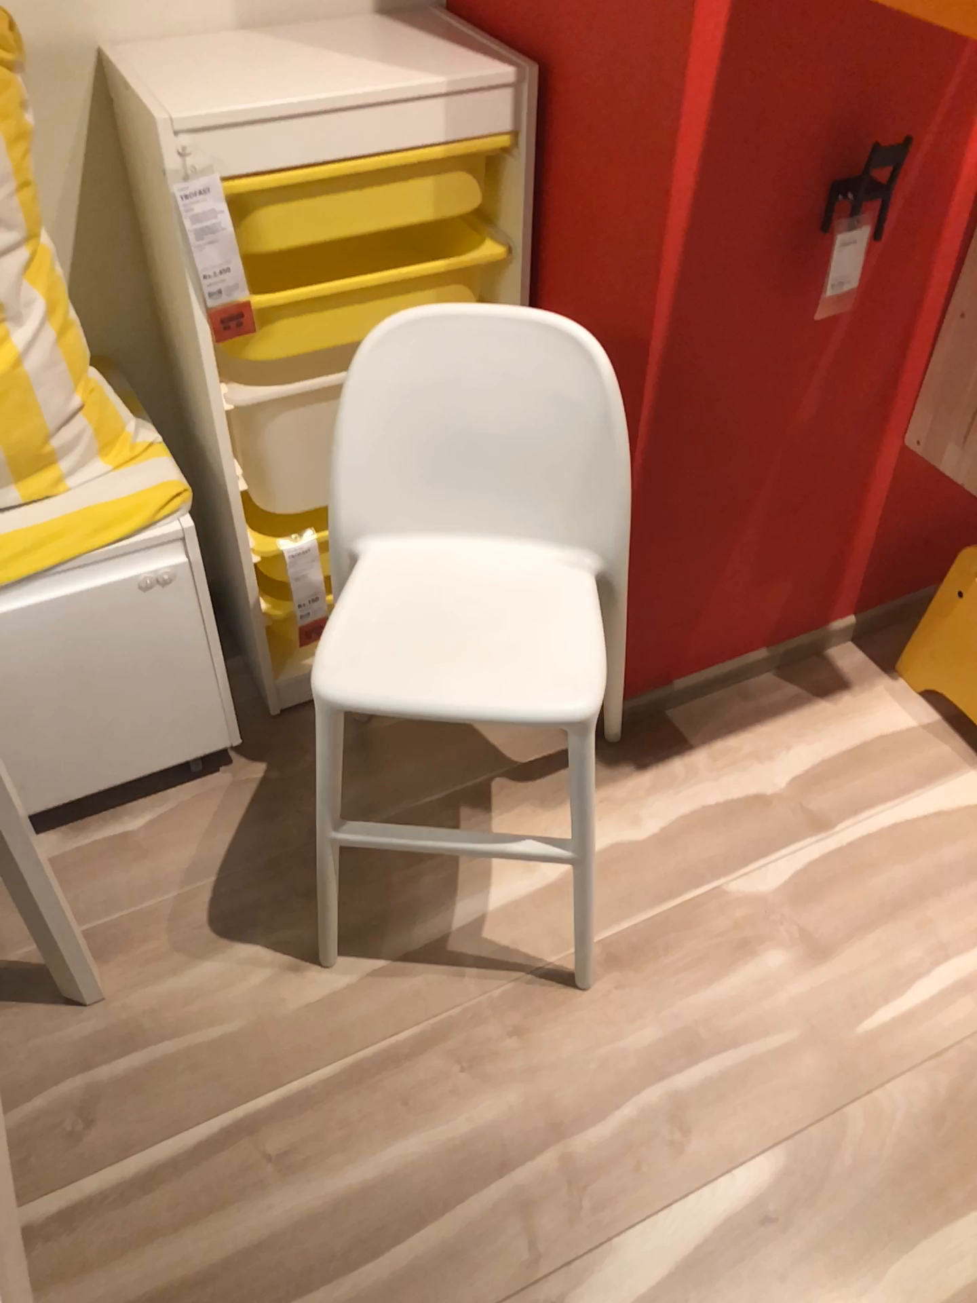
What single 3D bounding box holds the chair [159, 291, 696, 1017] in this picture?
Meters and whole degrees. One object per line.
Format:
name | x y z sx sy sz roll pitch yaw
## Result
chair | -0.037 0.033 1.248 0.420 0.706 0.463 4 47 3
